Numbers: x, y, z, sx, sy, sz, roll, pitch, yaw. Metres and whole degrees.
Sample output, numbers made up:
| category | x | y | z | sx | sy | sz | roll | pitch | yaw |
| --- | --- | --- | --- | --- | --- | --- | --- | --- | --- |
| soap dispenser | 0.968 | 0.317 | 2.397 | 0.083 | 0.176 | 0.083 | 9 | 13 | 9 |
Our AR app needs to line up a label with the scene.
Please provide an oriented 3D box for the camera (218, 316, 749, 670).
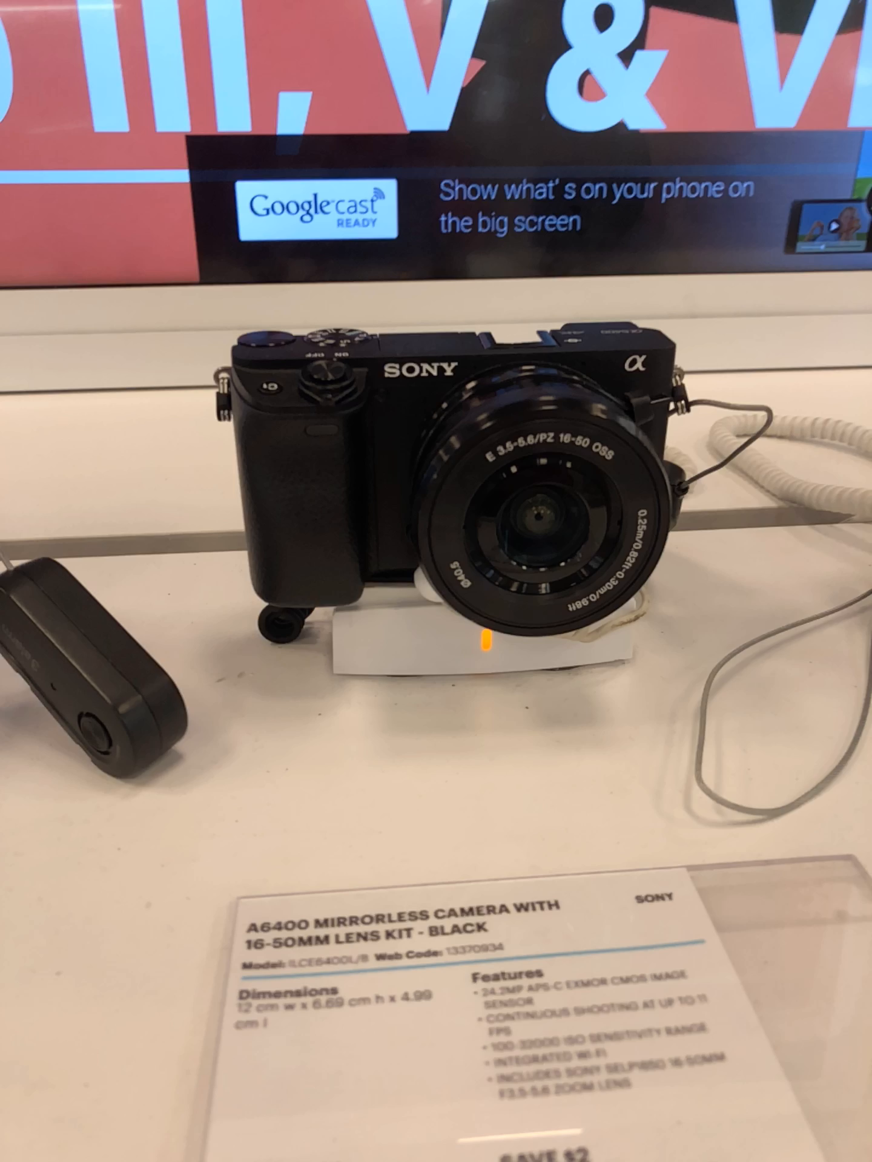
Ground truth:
| category | x | y | z | sx | sy | sz | roll | pitch | yaw |
| --- | --- | --- | --- | --- | --- | --- | --- | --- | --- |
| camera | 0.008 | -0.028 | 0.263 | 0.120 | 0.070 | 0.070 | -3 | 26 | -6 |
